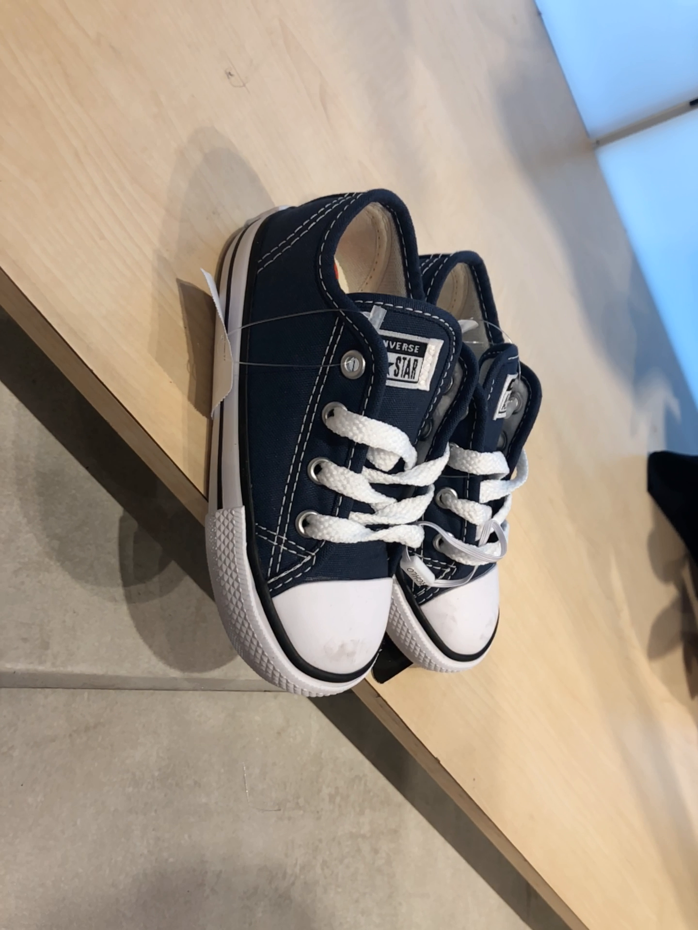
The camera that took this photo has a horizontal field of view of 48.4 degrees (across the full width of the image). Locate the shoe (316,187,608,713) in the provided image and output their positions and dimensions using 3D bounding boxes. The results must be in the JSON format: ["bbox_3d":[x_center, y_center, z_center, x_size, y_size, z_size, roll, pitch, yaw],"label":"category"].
[{"bbox_3d":[0.046,-0.005,0.299,0.081,0.060,0.170,-7,90,-52],"label":"shoe"}]

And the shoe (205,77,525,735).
[{"bbox_3d":[0.007,-0.013,0.247,0.081,0.060,0.170,9,78,-50],"label":"shoe"}]
